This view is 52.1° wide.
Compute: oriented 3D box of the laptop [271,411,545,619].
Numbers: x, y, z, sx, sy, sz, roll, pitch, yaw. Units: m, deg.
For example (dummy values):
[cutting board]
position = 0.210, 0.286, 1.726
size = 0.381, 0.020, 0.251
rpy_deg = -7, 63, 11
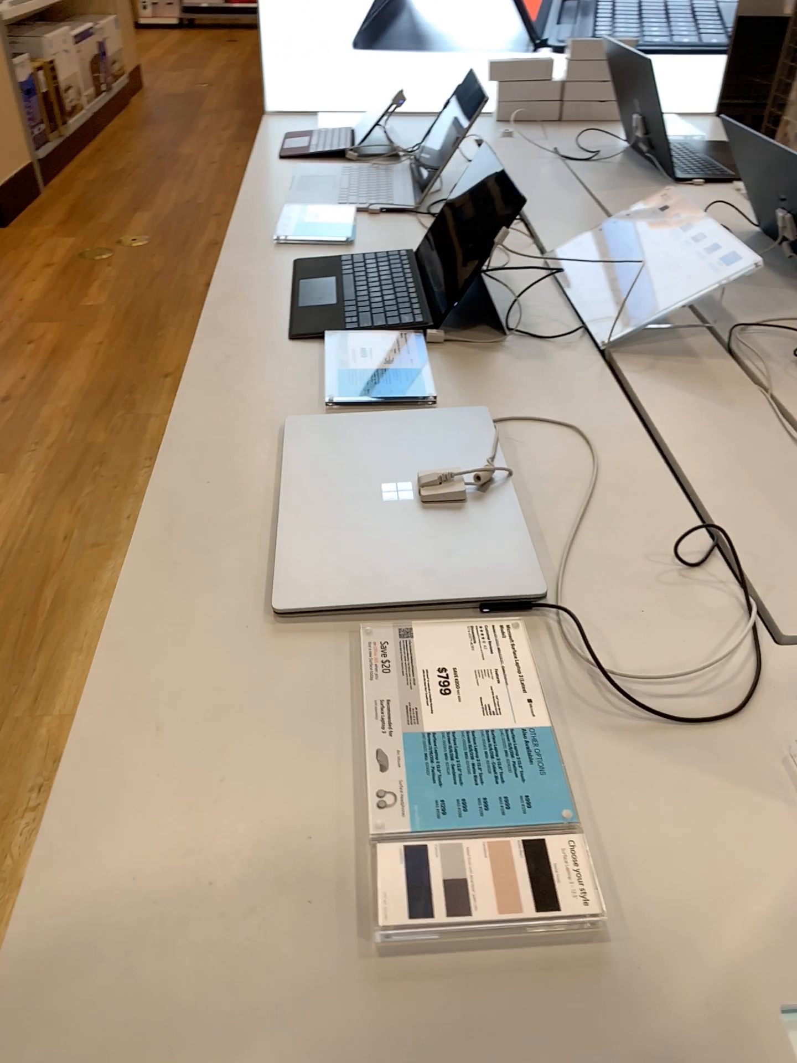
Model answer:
[laptop]
position = -0.003, -0.031, 0.774
size = 0.220, 0.008, 0.298
rpy_deg = -3, 38, -3
